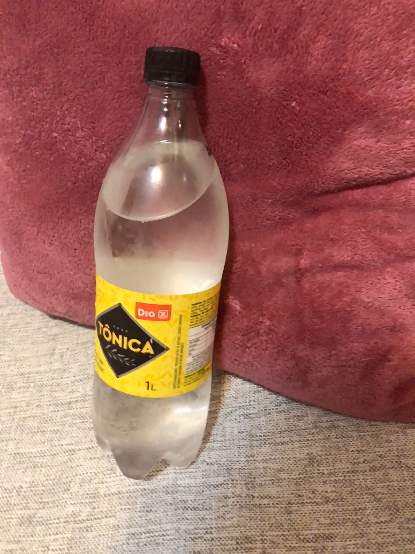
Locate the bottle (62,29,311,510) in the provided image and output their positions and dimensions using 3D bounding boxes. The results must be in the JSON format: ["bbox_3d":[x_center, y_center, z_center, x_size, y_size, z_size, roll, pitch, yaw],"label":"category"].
[{"bbox_3d":[-0.018,-0.003,0.303,0.100,0.269,0.100,5,23,-2],"label":"bottle"}]
